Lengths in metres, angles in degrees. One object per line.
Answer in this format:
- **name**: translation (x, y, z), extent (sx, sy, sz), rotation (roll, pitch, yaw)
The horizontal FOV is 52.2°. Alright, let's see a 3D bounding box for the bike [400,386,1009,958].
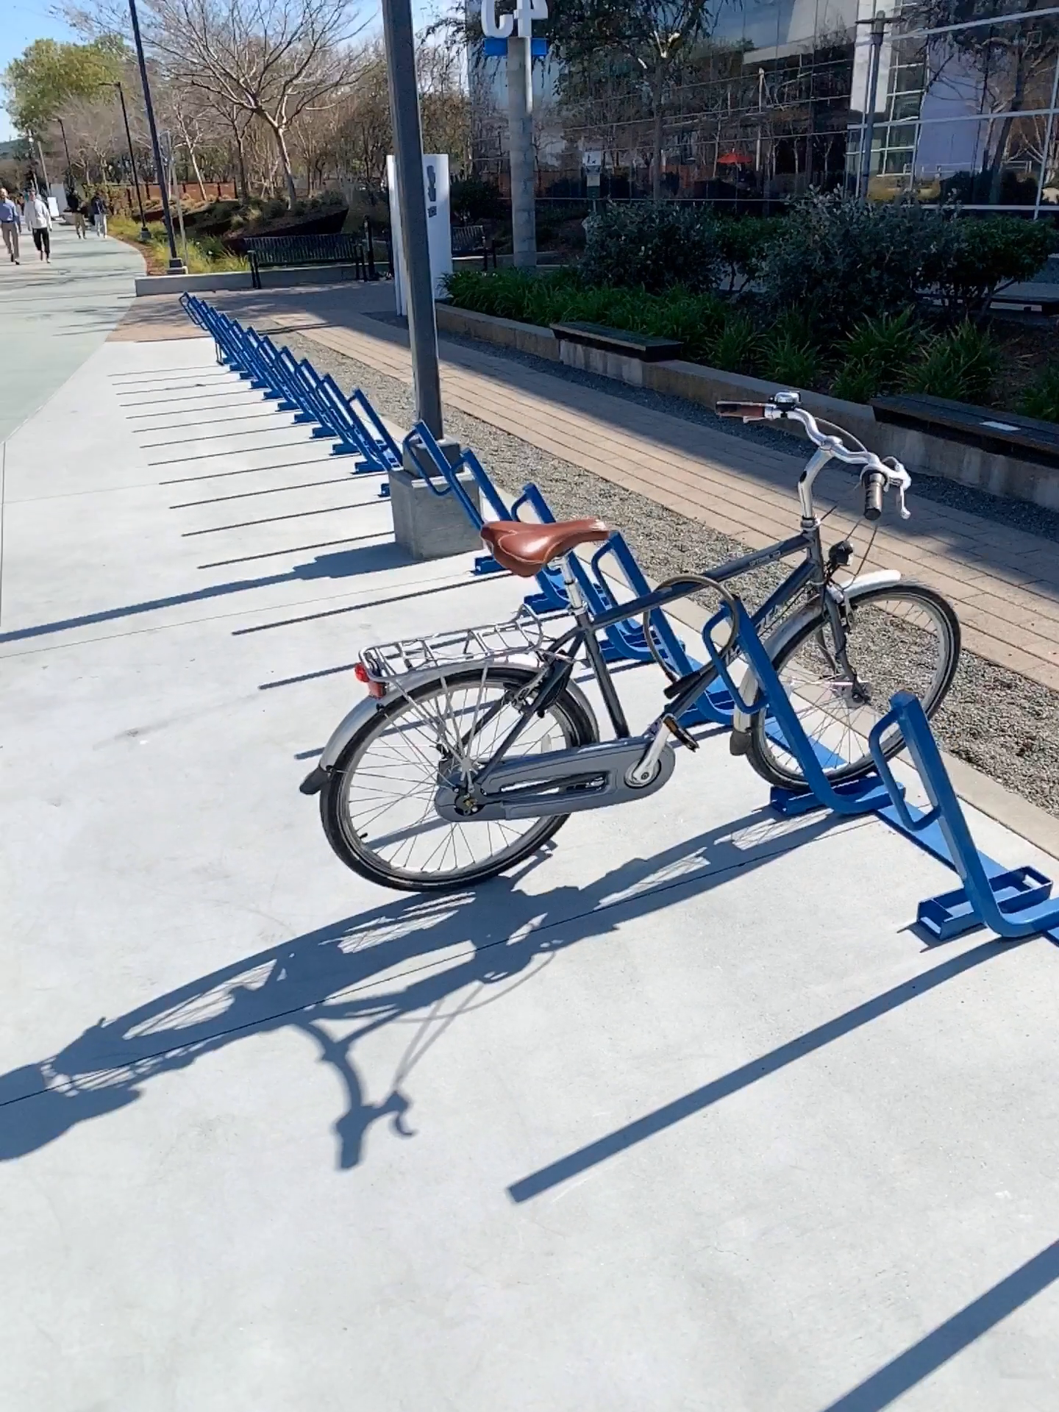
- **bike**: translation (0.338, -0.130, 2.361), extent (1.060, 0.915, 0.594), rotation (-11, 27, -17)
